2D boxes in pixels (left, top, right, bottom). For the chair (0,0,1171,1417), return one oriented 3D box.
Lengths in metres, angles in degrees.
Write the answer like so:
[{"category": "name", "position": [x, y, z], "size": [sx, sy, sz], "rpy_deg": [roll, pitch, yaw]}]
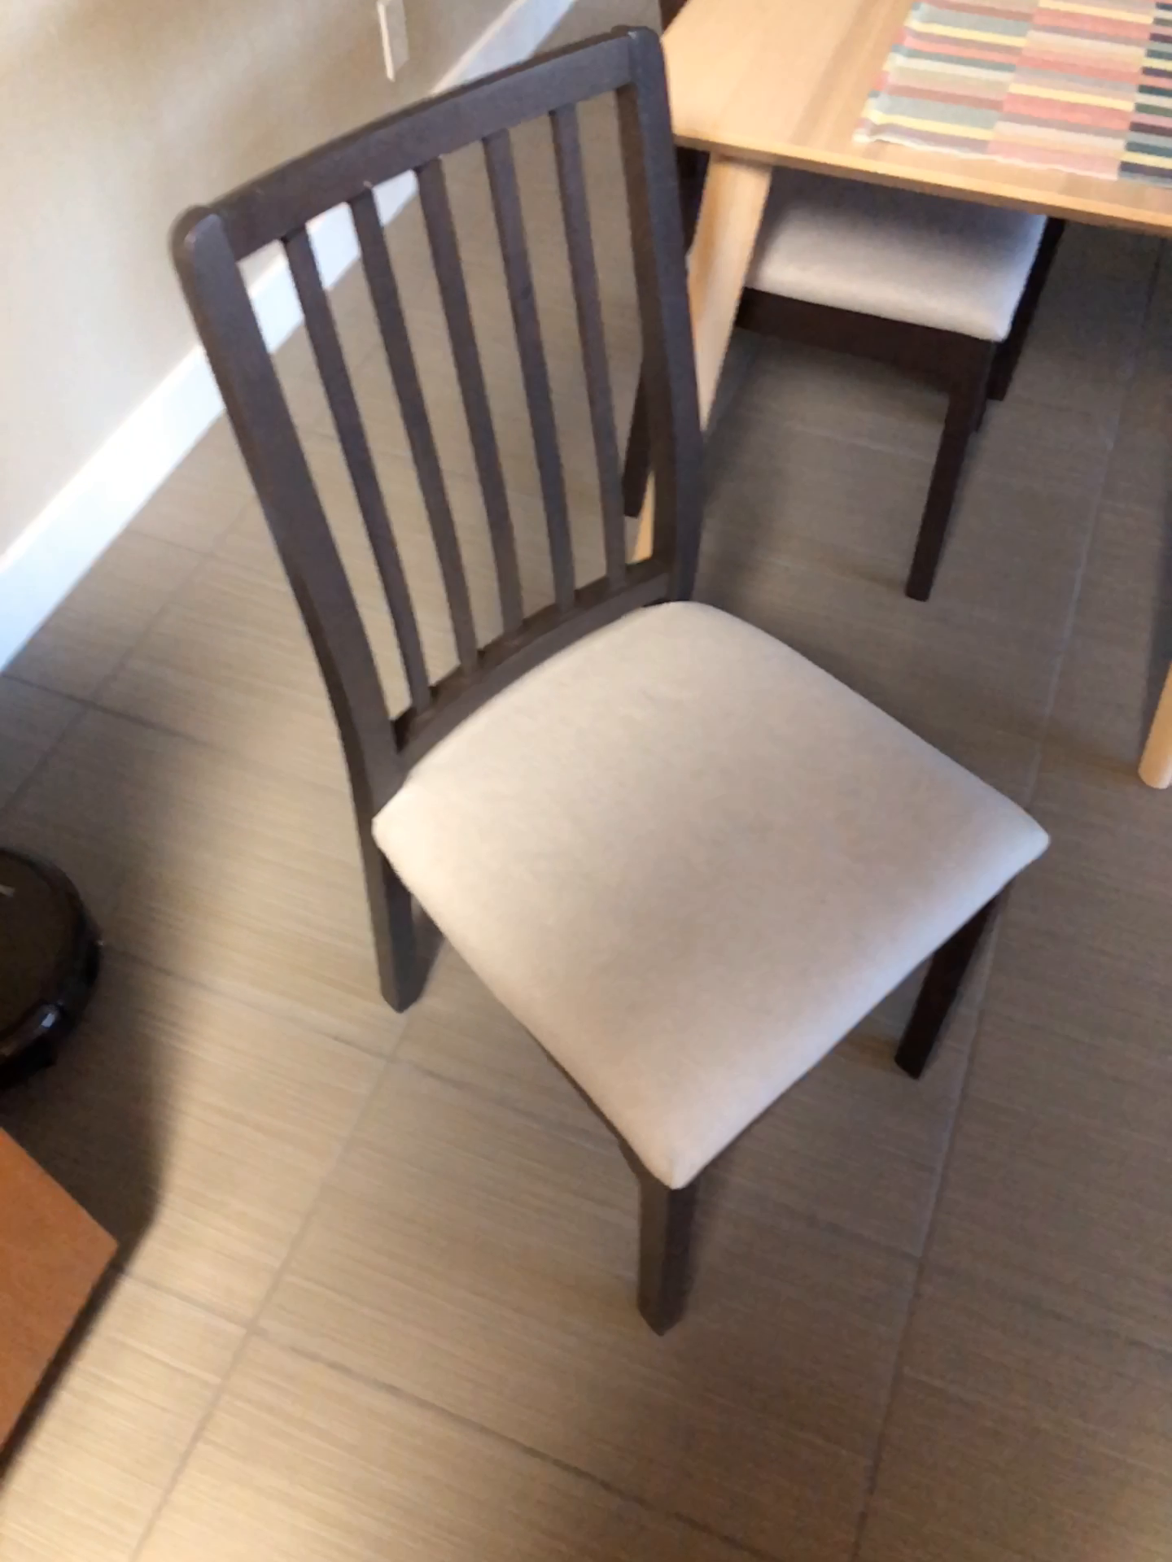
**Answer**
[{"category": "chair", "position": [0.076, -0.024, 1.047], "size": [0.581, 0.847, 0.591], "rpy_deg": [-37, 61, -24]}]
